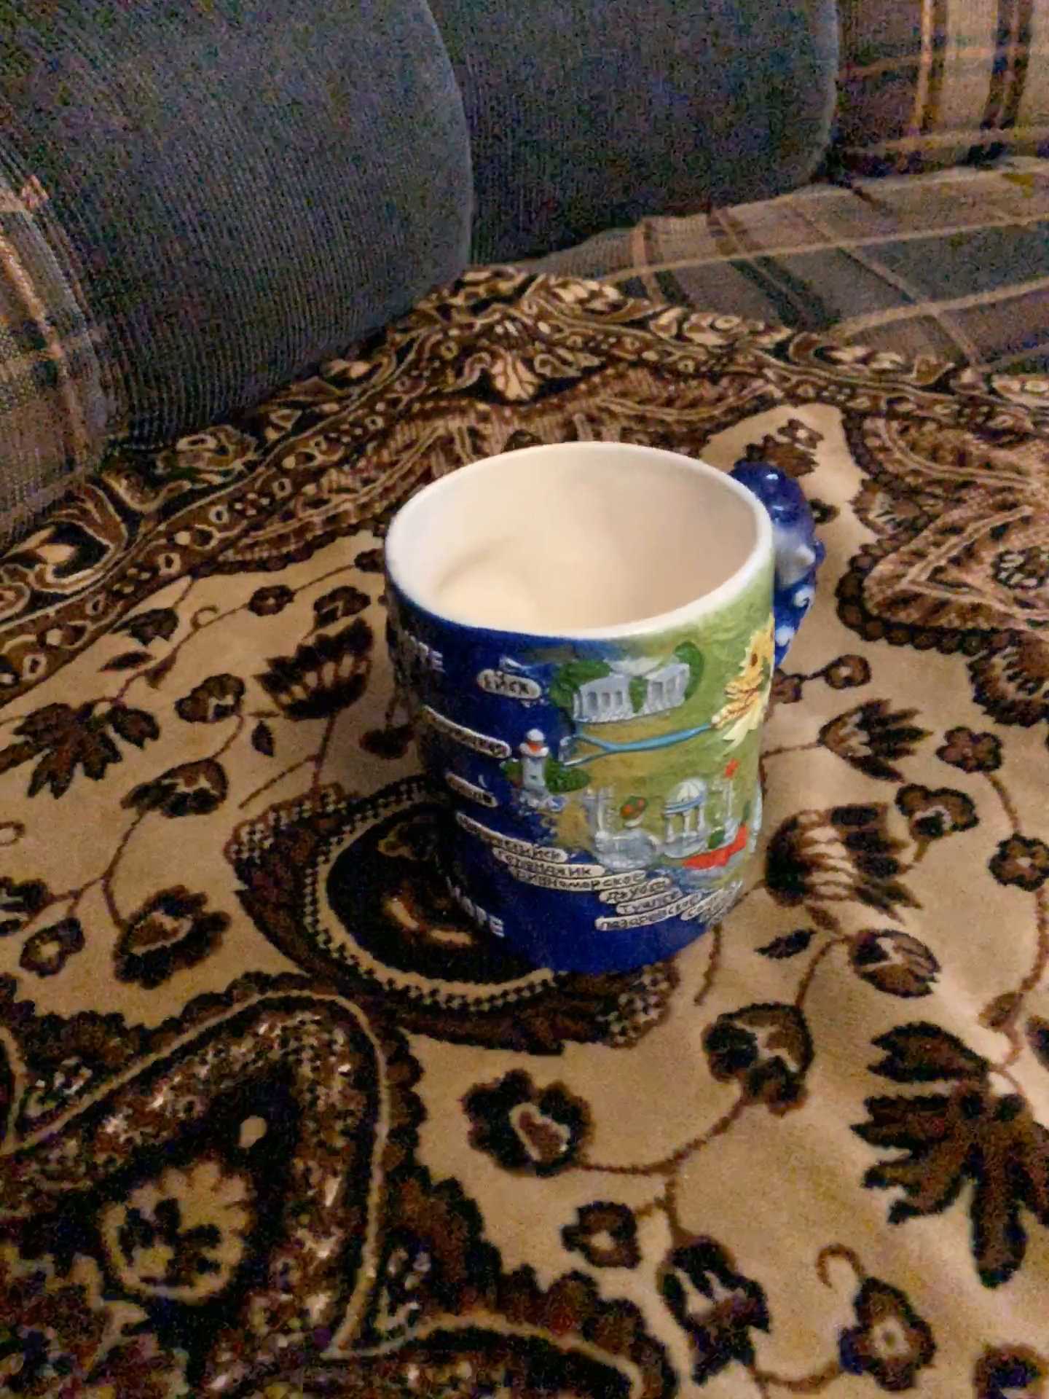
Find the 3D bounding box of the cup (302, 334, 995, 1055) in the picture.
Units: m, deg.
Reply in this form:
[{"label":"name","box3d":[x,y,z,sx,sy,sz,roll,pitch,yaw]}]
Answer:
[{"label":"cup","box3d":[0.032,-0.010,0.271,0.128,0.105,0.090,-33,48,-31]}]
